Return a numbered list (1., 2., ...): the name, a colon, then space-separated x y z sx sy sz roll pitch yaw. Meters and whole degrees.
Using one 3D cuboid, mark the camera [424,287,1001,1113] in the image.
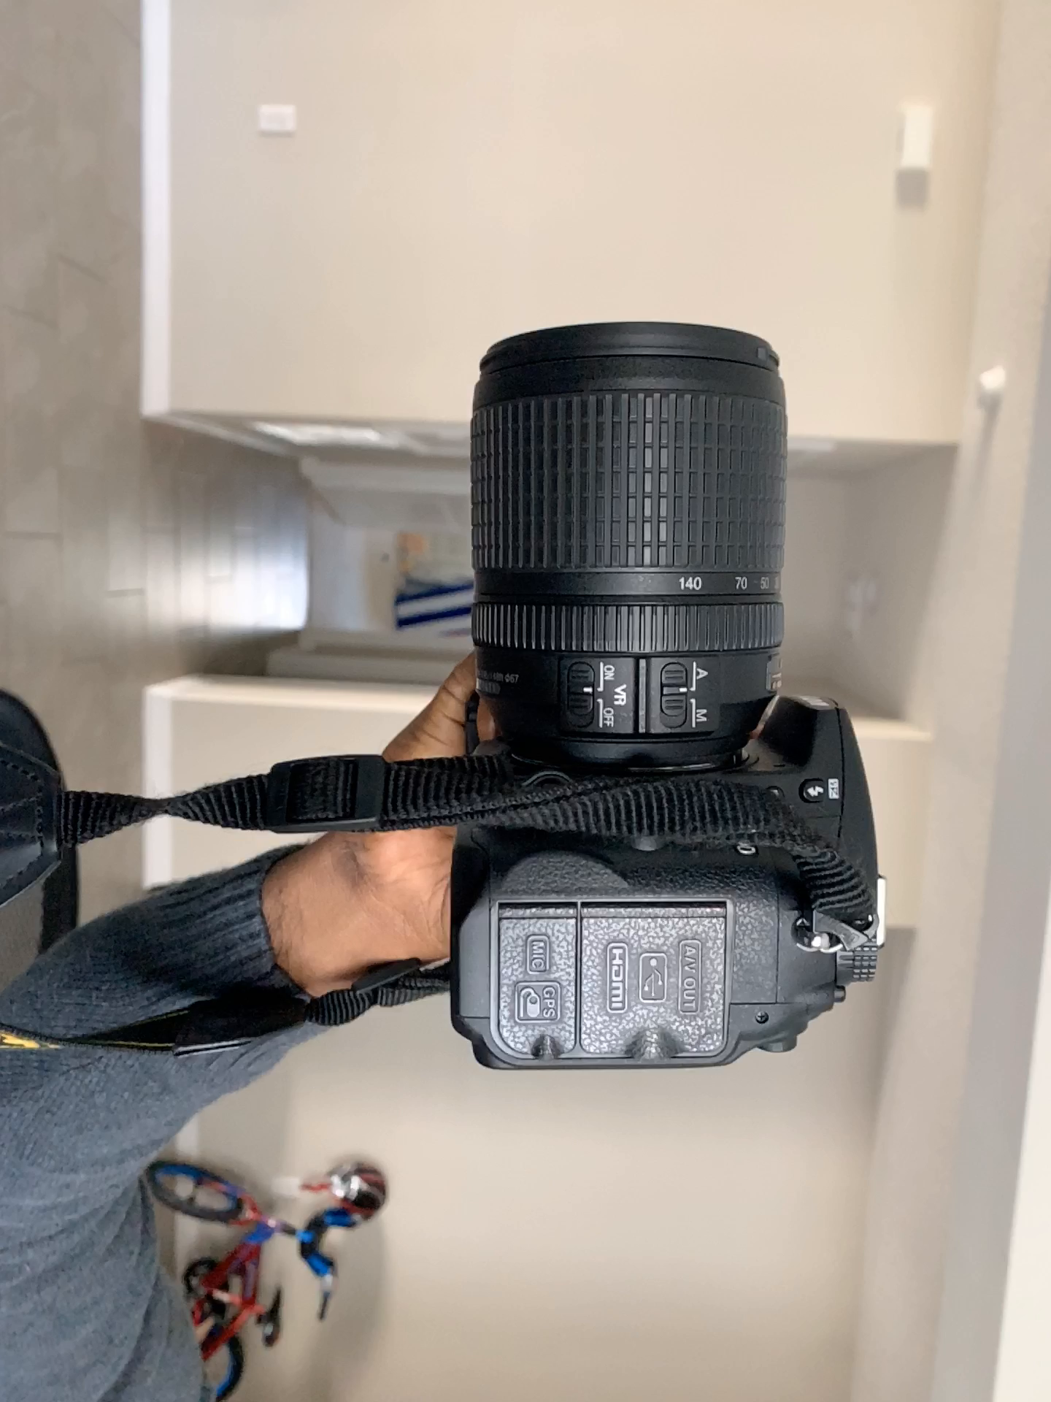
1. camera: 0.033 -0.009 0.305 0.160 0.114 0.170 -110 -161 -80
